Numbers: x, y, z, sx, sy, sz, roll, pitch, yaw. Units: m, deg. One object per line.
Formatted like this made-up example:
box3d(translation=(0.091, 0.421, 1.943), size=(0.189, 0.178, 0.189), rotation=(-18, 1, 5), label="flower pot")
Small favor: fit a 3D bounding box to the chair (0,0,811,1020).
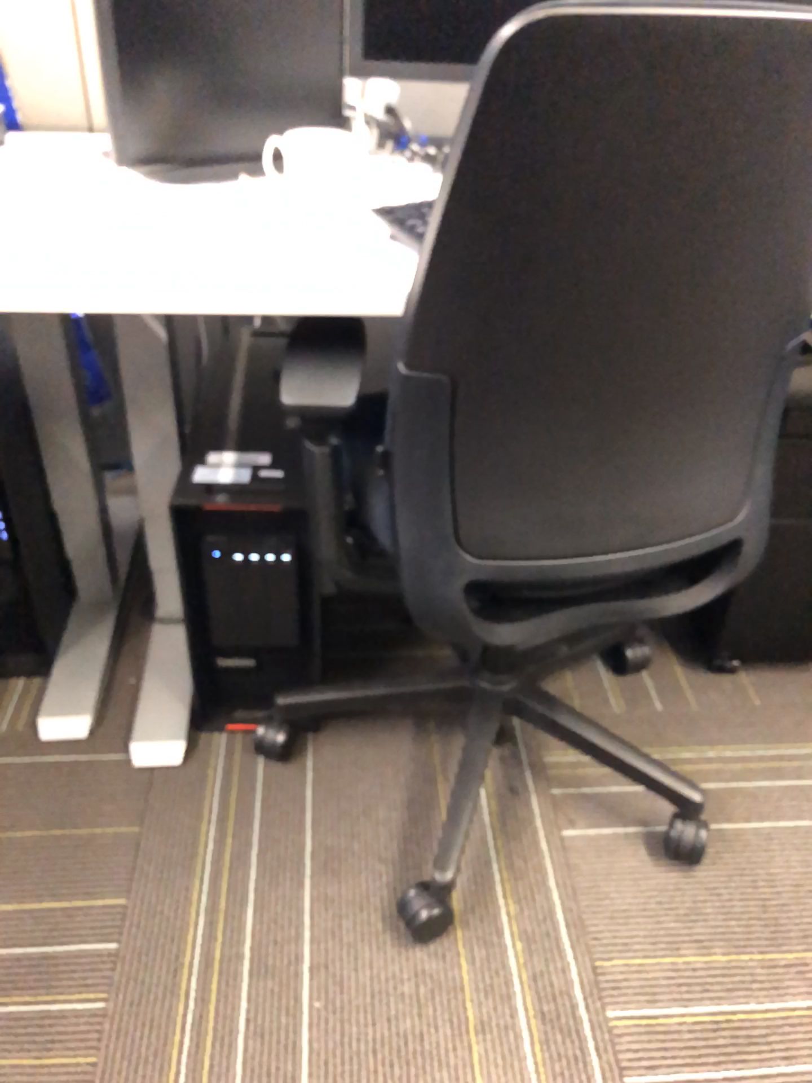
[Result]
box3d(translation=(0.135, -0.074, 1.041), size=(0.780, 1.014, 0.664), rotation=(-1, 35, -5), label="chair")
